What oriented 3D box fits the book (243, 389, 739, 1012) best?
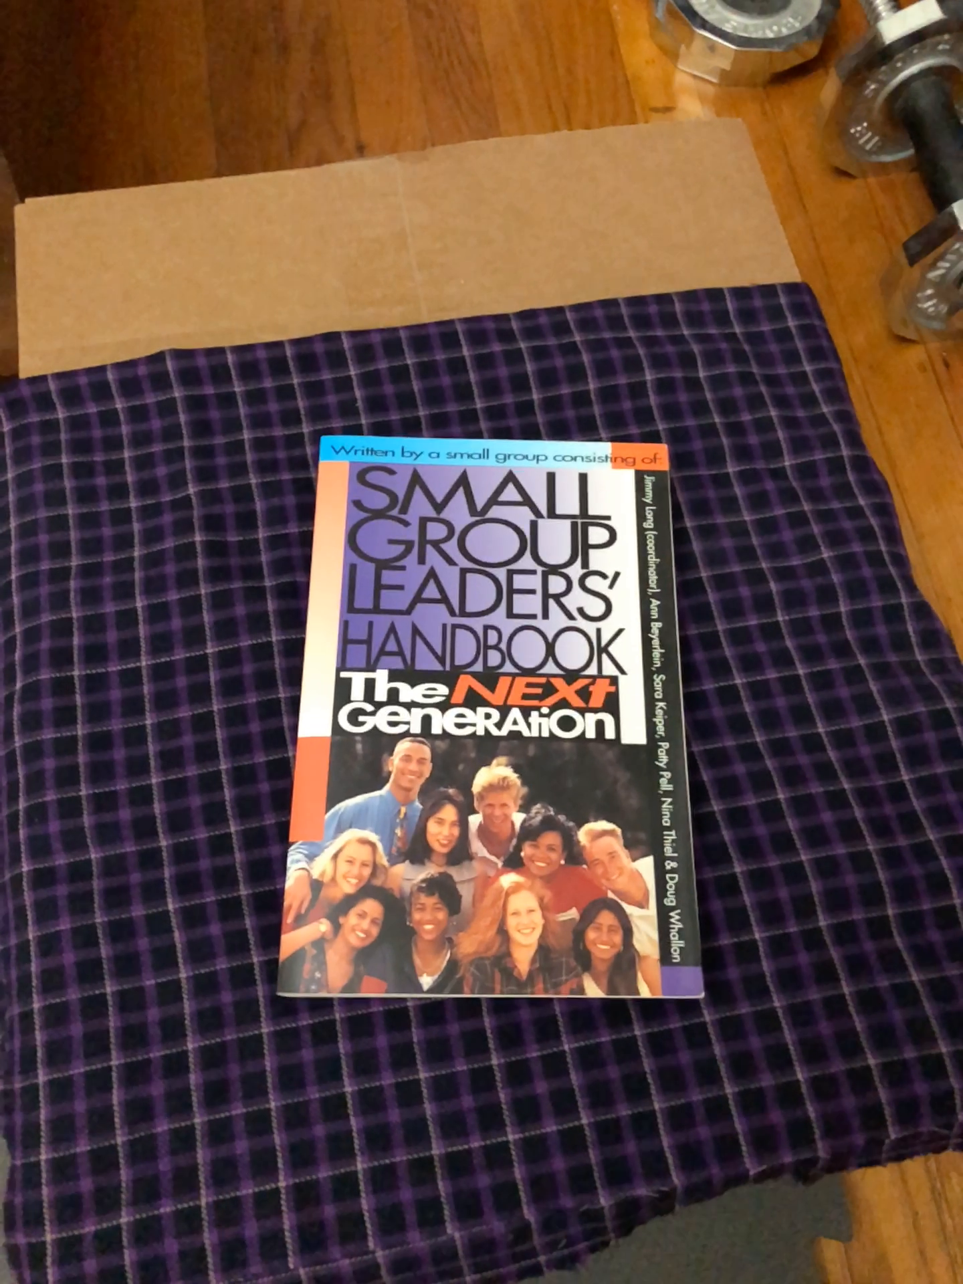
[{"bbox_3d":[0.003,0.013,0.376,0.150,0.030,0.221,1,68,-2],"label":"book"}]
